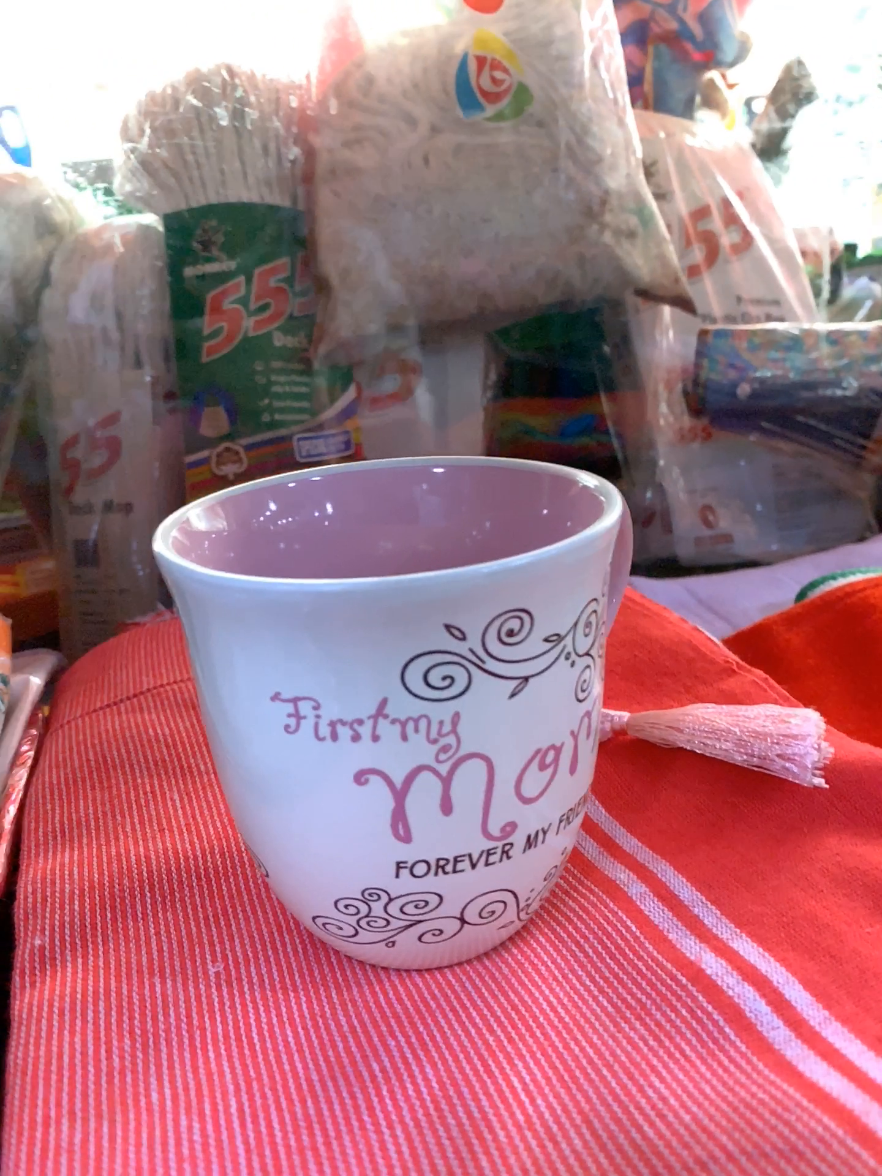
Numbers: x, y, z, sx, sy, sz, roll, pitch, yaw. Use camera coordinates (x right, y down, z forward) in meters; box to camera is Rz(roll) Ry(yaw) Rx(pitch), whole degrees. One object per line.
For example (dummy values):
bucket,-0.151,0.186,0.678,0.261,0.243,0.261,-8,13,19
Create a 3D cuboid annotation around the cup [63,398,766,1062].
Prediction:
cup,0.008,0.011,0.211,0.094,0.080,0.131,8,26,33
